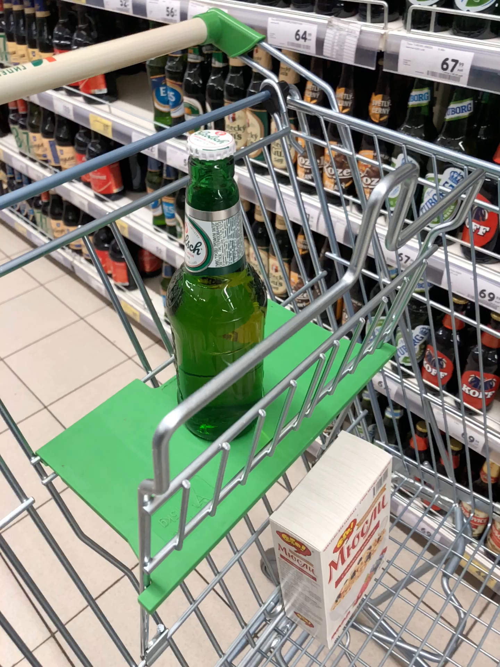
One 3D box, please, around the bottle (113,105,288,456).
[{"bbox_3d":[-0.028,-0.027,0.379,0.080,0.219,0.080,-1,39,1],"label":"bottle"}]
